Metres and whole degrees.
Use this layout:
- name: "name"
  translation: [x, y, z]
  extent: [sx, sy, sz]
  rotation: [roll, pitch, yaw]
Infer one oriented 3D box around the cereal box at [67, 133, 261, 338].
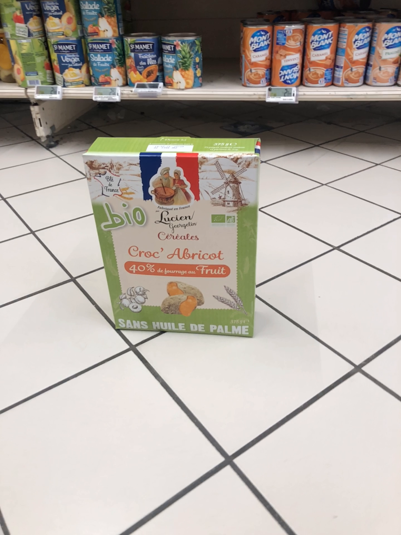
- name: "cereal box"
  translation: [-0.032, -0.034, 0.541]
  extent: [0.200, 0.239, 0.070]
  rotation: [3, 32, 7]
